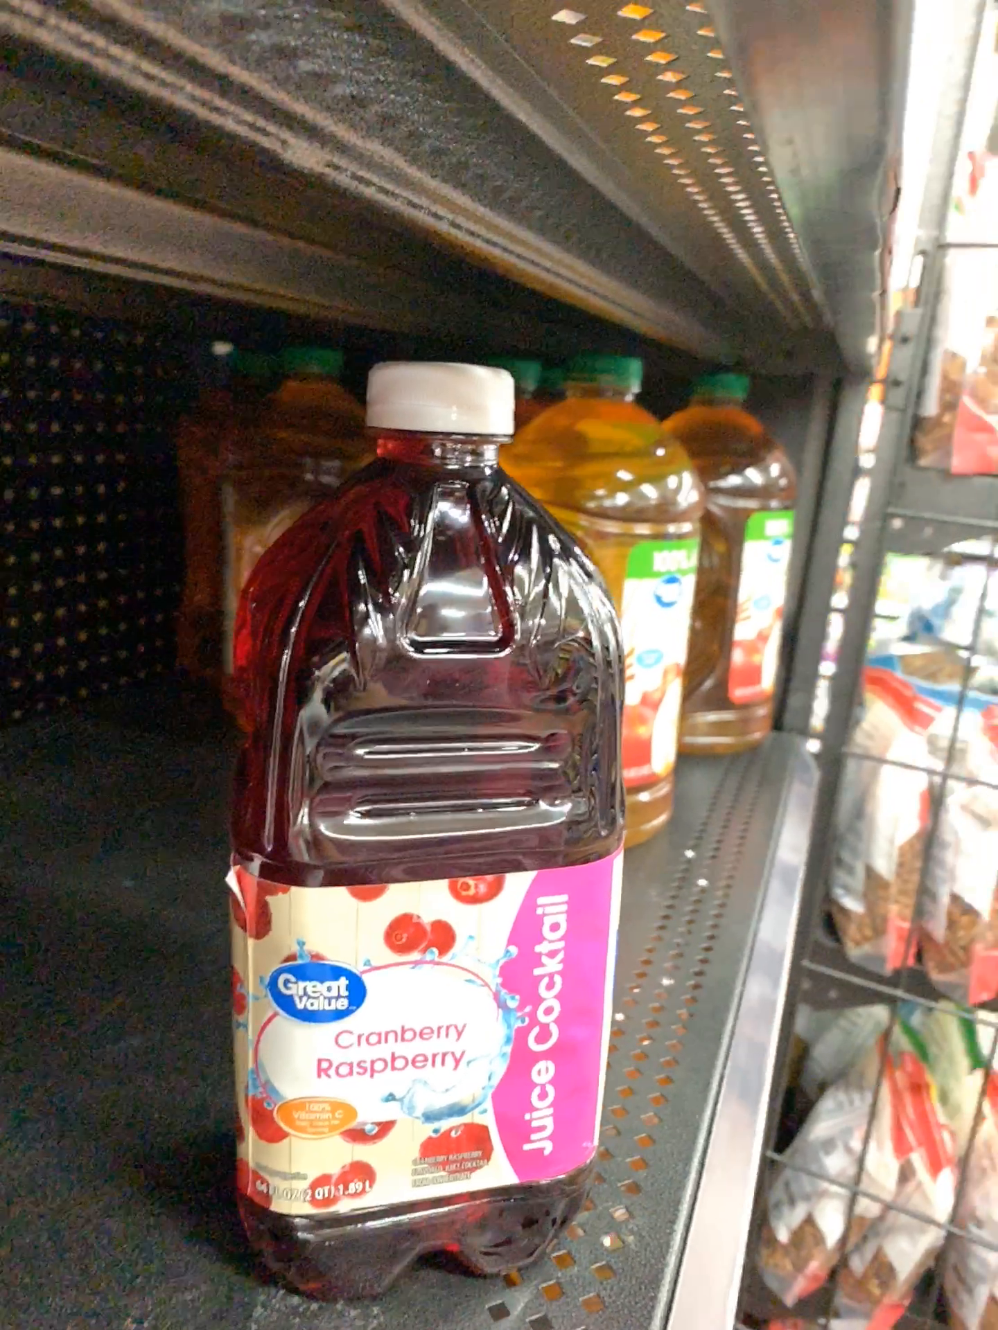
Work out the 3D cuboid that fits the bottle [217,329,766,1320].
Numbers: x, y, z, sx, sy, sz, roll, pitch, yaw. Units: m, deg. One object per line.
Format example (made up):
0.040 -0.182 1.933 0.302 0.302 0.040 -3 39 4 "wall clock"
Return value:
-0.018 0.041 0.317 0.125 0.259 0.100 0 15 -17 "bottle"
